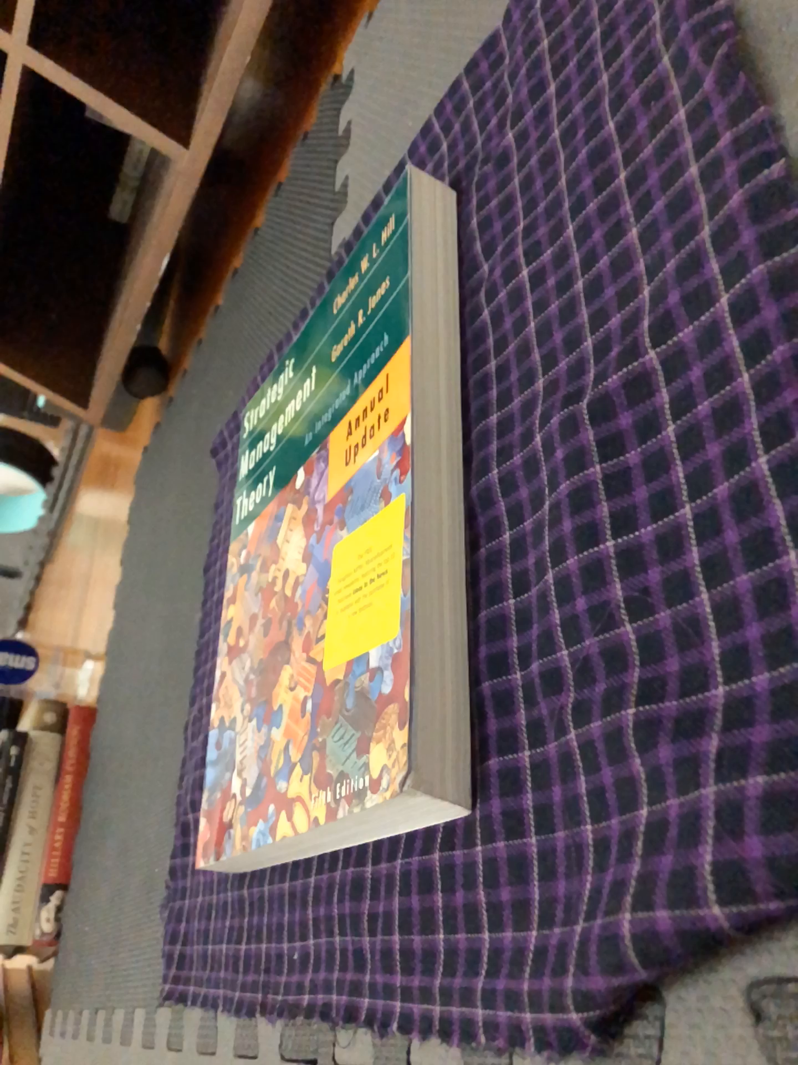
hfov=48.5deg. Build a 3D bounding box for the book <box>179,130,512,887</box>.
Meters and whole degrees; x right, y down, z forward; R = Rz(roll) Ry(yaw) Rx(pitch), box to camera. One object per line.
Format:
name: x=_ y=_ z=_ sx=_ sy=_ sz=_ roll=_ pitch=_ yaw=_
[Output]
book: x=-0.039 y=0.006 z=0.411 sx=0.231 sy=0.040 sz=0.281 roll=-40 pitch=44 yaw=53
